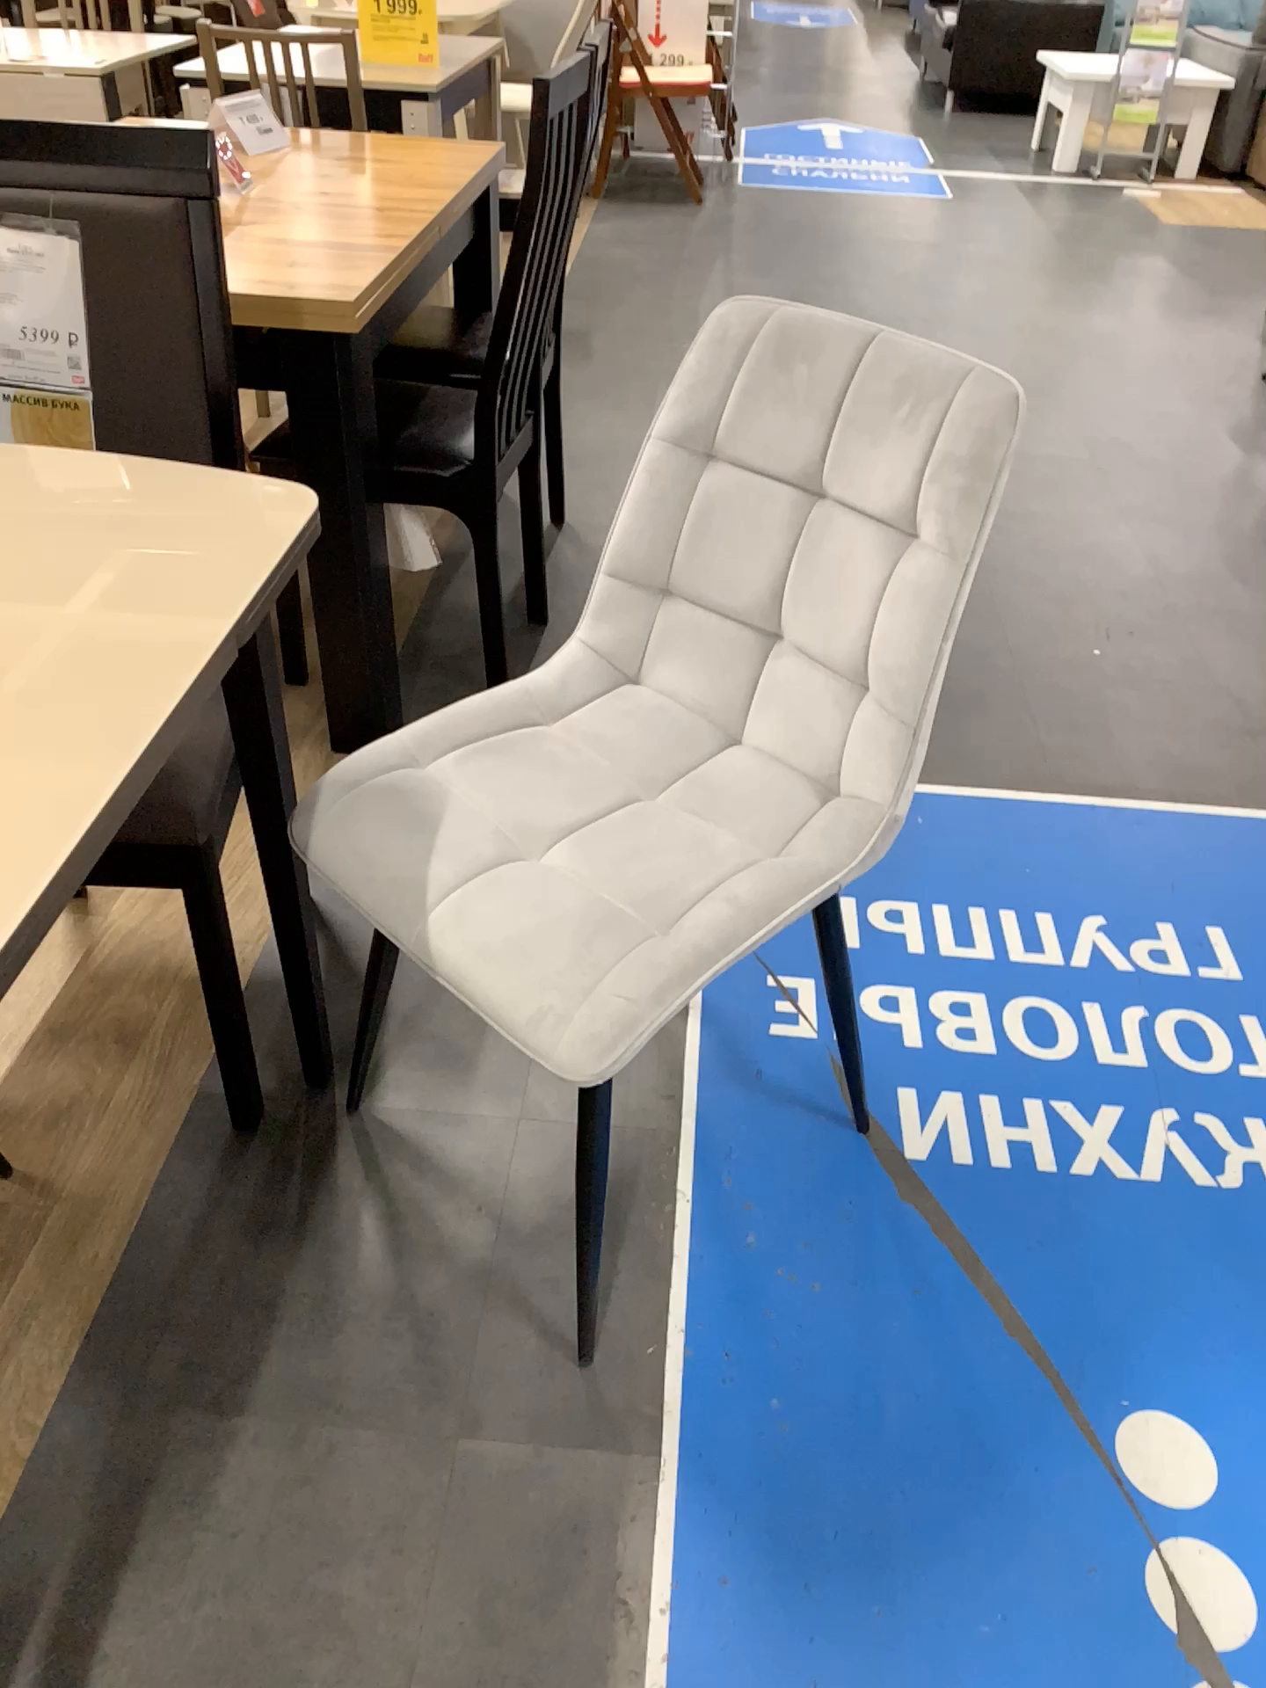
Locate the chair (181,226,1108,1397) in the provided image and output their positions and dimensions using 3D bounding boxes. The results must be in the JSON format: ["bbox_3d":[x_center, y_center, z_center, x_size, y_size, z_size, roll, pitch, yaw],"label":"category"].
[{"bbox_3d":[0.003,-0.037,1.364,0.602,0.974,0.481,-28,47,-33],"label":"chair"}]
